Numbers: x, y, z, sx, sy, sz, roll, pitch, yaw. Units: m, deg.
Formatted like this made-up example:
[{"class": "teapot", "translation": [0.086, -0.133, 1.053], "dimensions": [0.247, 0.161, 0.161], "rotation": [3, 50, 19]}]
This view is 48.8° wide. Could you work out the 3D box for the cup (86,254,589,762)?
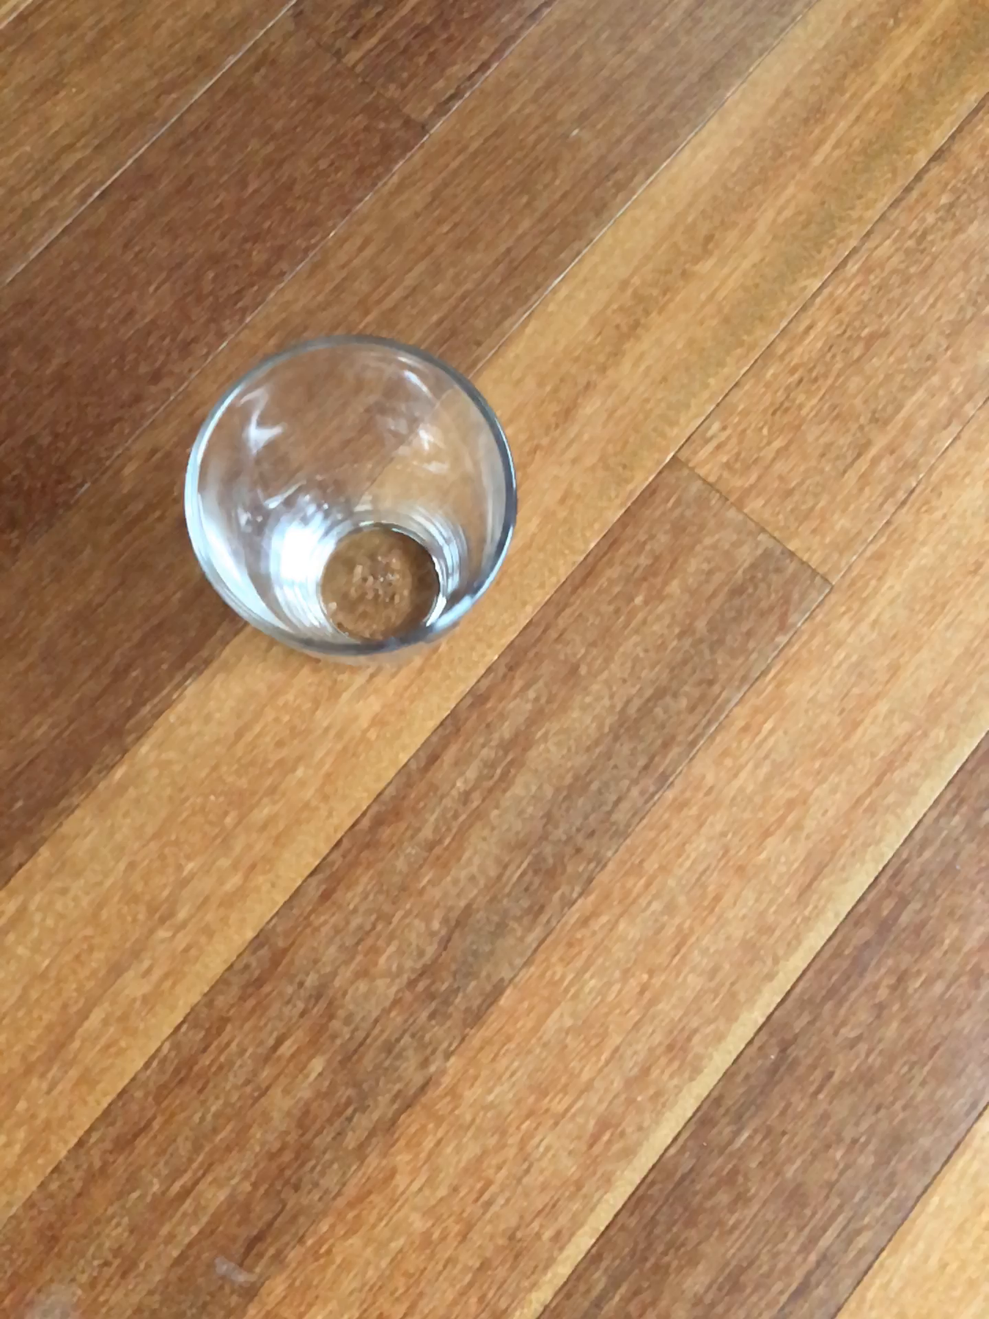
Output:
[{"class": "cup", "translation": [-0.041, -0.035, 0.327], "dimensions": [0.090, 0.110, 0.090], "rotation": [0, 81, -3]}]
